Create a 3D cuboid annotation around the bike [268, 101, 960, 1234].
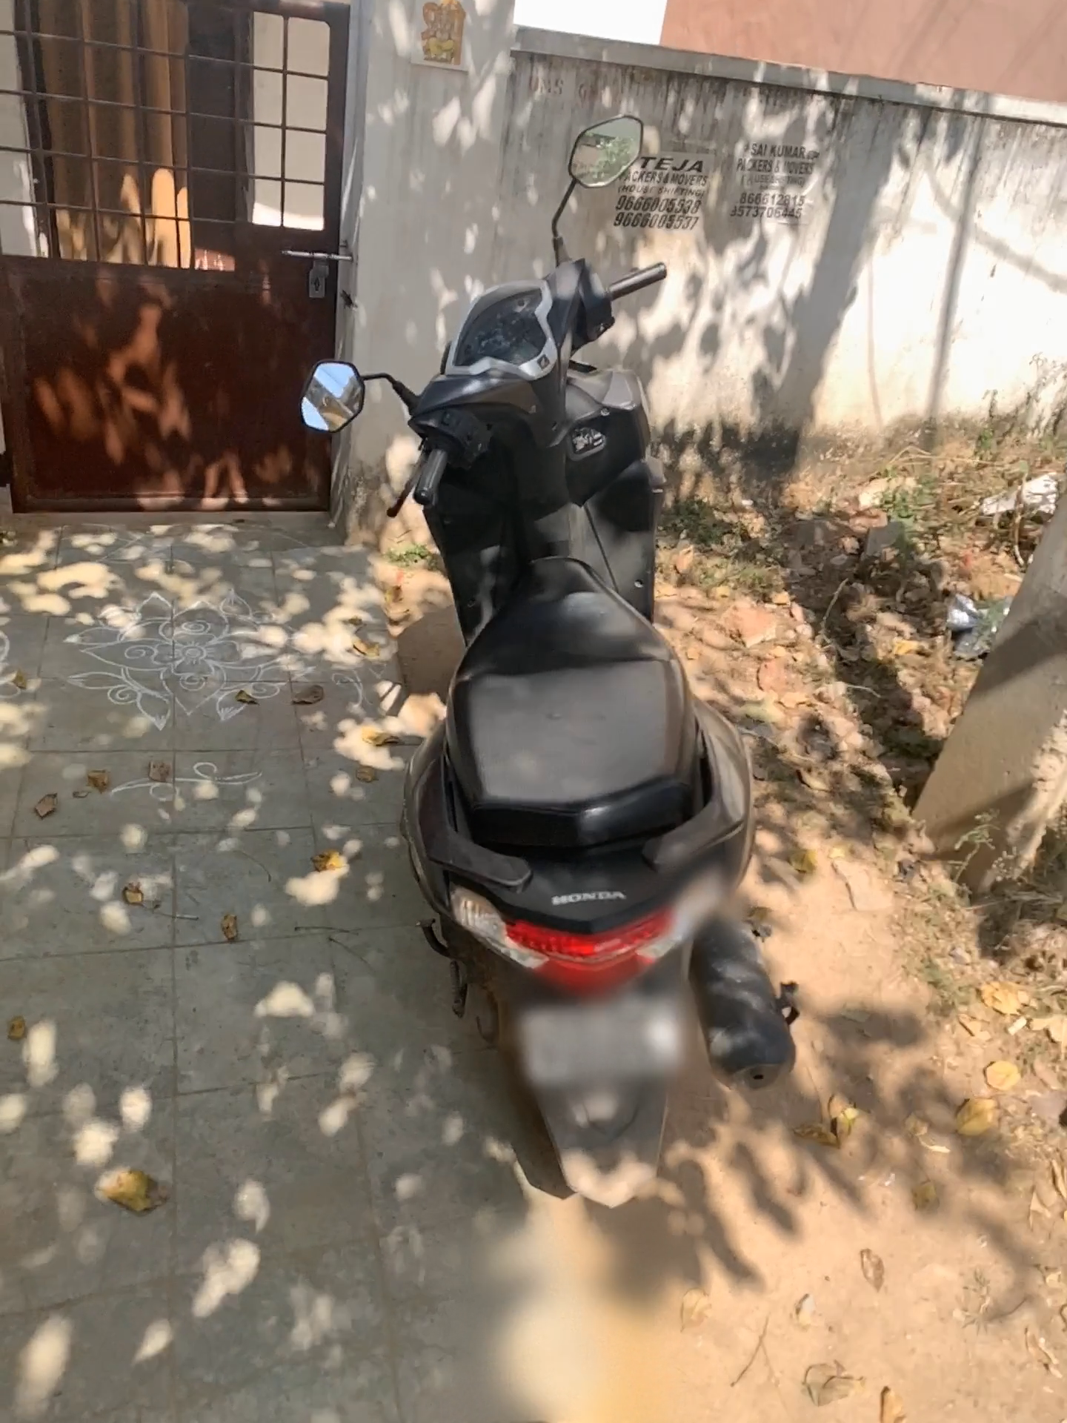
[{"bbox_3d":[-0.127,-0.199,1.882,0.606,1.176,1.516,1,36,-14],"label":"bike"}]
